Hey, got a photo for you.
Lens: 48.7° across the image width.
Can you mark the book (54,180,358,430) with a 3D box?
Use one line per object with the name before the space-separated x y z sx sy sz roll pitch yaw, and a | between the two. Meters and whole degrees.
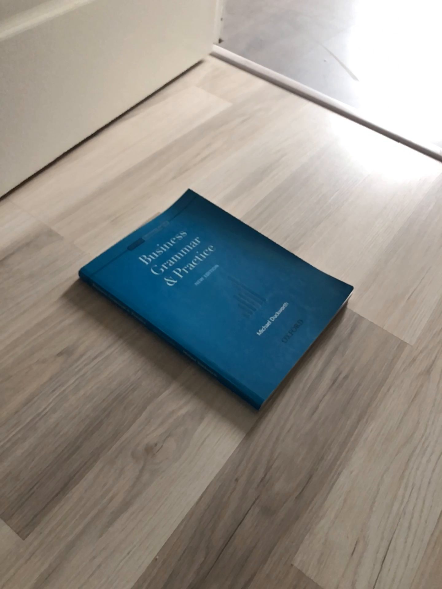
book | -0.016 -0.012 0.619 0.300 0.040 0.231 34 53 19
